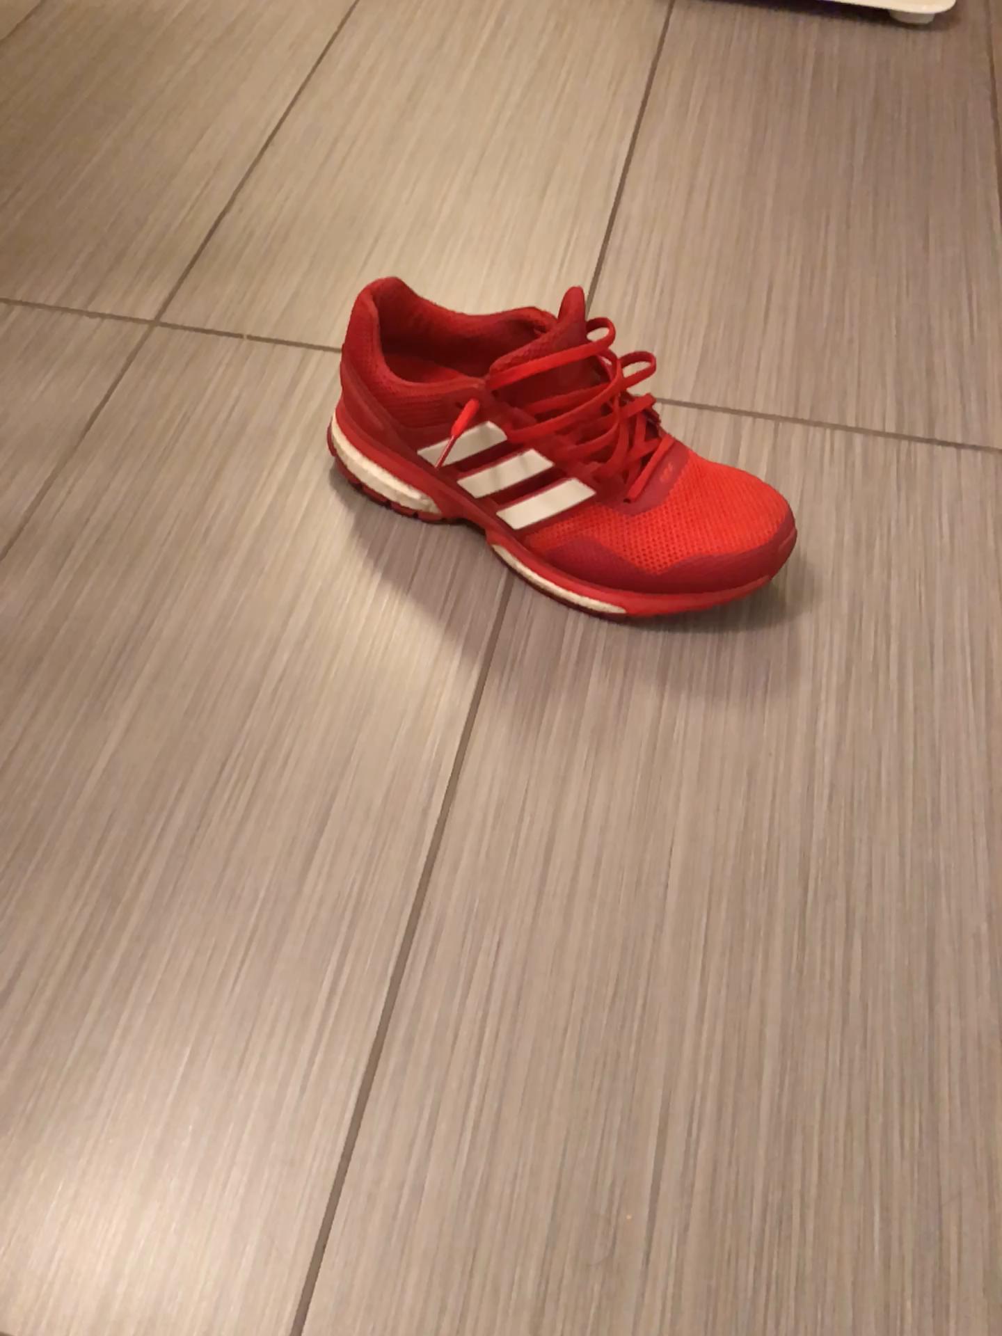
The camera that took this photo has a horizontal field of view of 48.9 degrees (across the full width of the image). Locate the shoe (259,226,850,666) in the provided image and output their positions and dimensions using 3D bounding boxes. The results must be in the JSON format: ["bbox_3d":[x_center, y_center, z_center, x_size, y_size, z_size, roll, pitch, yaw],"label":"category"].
[{"bbox_3d":[0.025,-0.132,0.622,0.290,0.100,0.121,25,58,17],"label":"shoe"}]
